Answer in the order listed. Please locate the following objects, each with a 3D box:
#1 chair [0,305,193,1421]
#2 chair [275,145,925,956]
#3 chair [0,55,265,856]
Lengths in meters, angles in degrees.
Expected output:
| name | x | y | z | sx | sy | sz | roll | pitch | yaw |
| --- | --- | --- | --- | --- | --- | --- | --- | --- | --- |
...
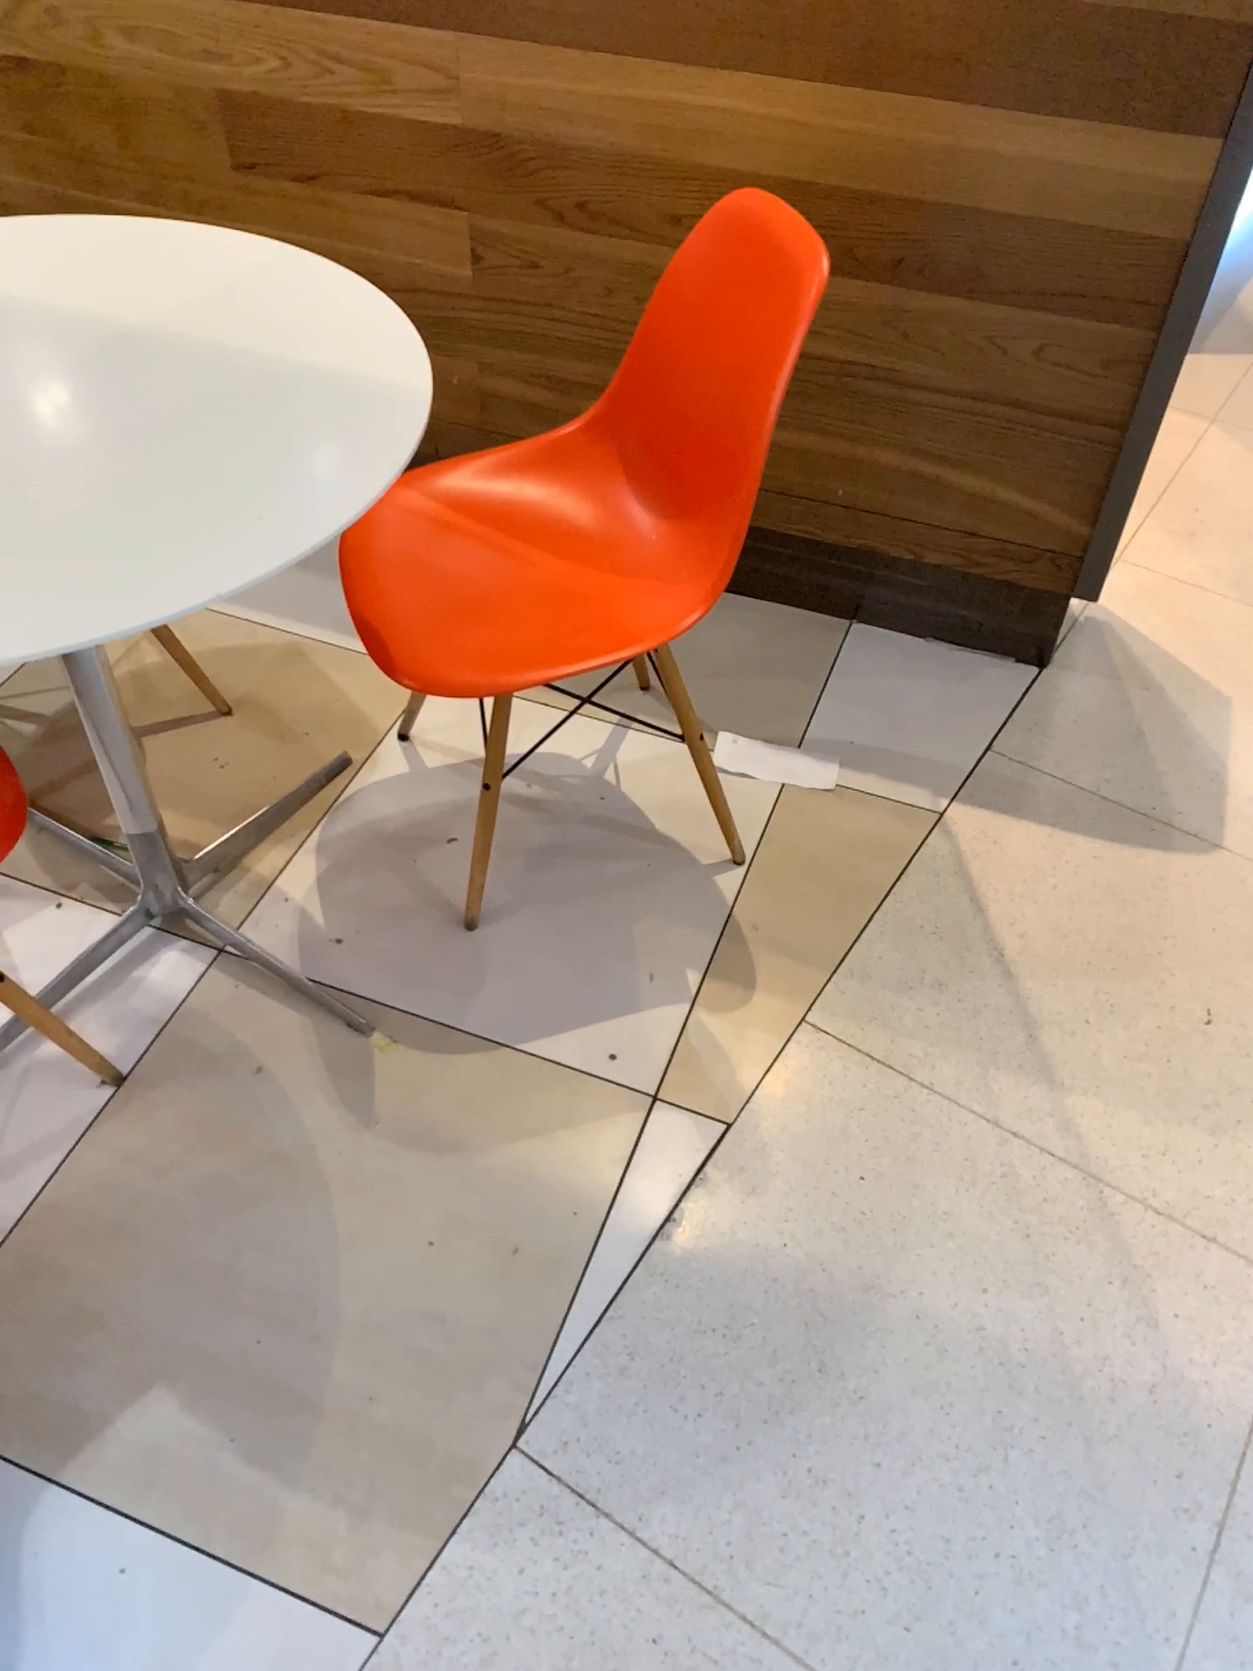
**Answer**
| name | x | y | z | sx | sy | sz | roll | pitch | yaw |
| --- | --- | --- | --- | --- | --- | --- | --- | --- | --- |
| chair | -0.825 | 0.043 | 1.157 | 0.449 | 0.762 | 0.513 | 36 | 55 | 28 |
| chair | -0.056 | -0.320 | 1.513 | 0.521 | 0.742 | 0.451 | -13 | 49 | -14 |
| chair | -0.868 | -0.479 | 1.637 | 0.450 | 0.742 | 0.523 | -33 | 56 | -28 |
